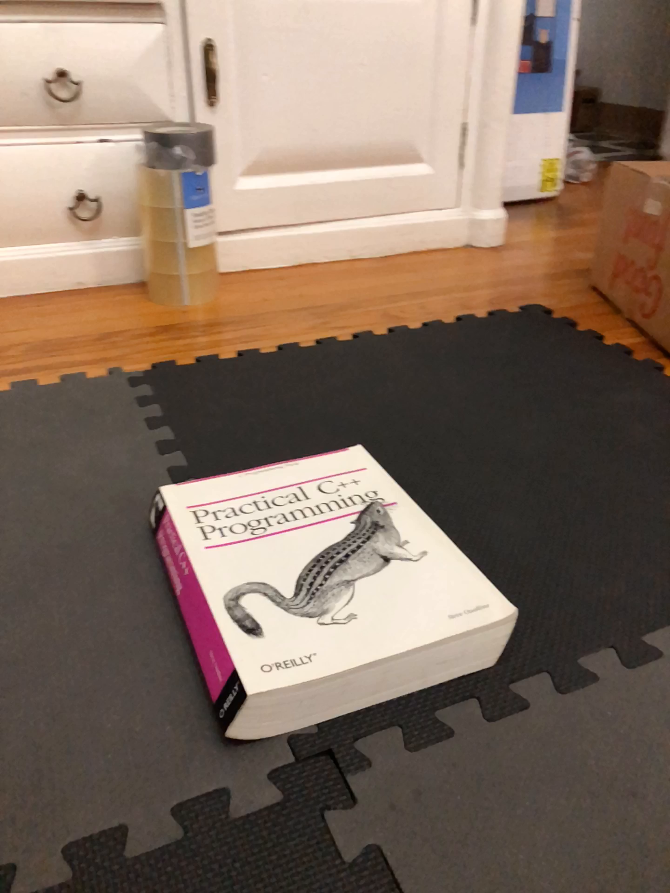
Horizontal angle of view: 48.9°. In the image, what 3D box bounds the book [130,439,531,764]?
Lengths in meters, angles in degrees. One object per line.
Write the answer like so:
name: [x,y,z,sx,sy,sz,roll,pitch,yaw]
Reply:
book: [-0.022,0.083,0.529,0.200,0.050,0.251,-6,30,-24]
